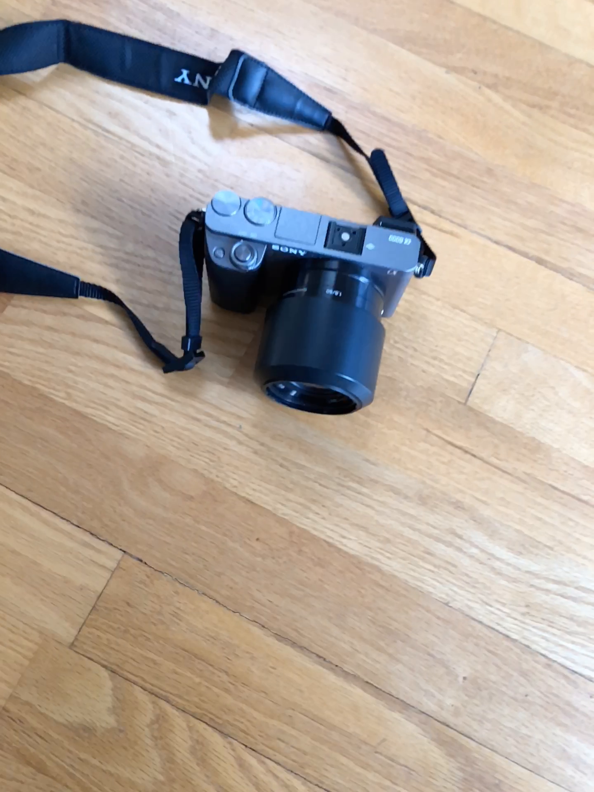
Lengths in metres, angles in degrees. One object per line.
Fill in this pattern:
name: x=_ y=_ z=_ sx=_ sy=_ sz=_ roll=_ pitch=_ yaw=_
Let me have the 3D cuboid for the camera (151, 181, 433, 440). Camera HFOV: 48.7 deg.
camera: x=-0.001 y=-0.047 z=0.390 sx=0.136 sy=0.079 sz=0.107 roll=11 pitch=71 yaw=0
